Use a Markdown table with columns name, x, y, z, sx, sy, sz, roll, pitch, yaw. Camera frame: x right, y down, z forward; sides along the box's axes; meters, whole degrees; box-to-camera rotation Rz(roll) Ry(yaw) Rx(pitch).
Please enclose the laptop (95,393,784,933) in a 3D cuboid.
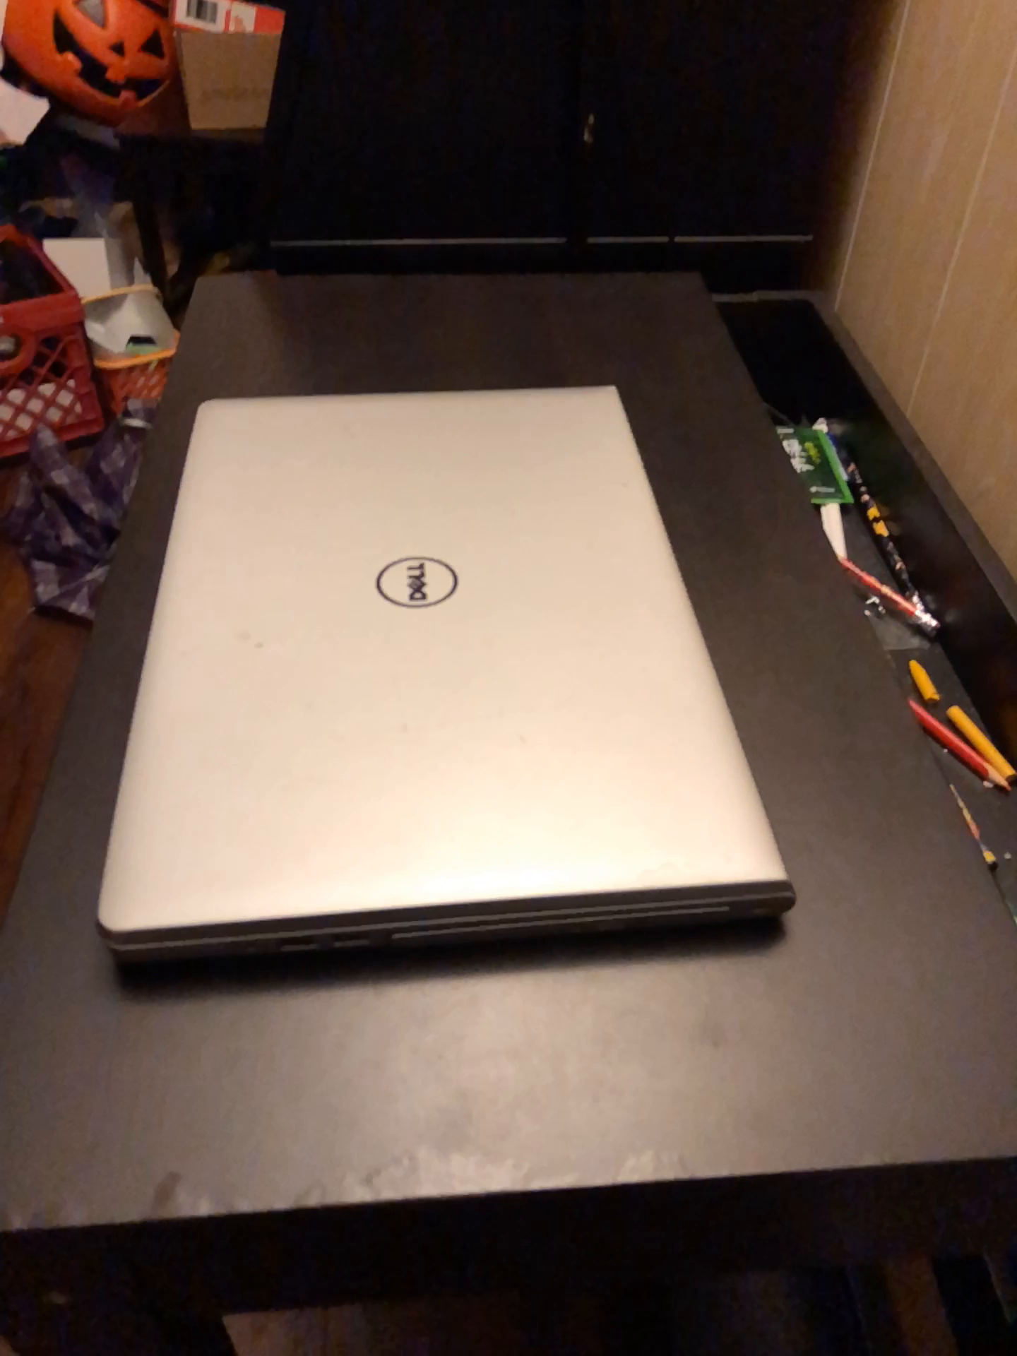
| name | x | y | z | sx | sy | sz | roll | pitch | yaw |
| --- | --- | --- | --- | --- | --- | --- | --- | --- | --- |
| laptop | -0.039 | -0.043 | 0.538 | 0.249 | 0.003 | 0.373 | -3 | 42 | -4 |
